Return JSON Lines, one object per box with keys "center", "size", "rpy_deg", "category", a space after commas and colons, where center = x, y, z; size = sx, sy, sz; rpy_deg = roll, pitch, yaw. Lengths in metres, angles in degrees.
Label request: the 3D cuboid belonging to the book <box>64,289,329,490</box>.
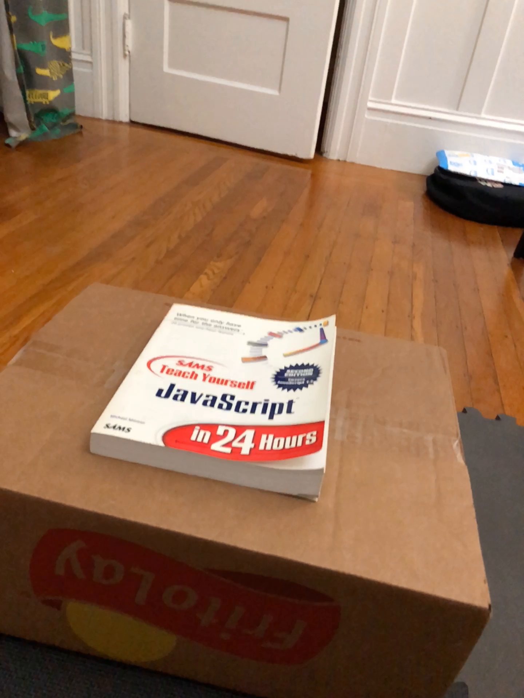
{"center": [-0.041, 0.021, 0.550], "size": [0.200, 0.030, 0.241], "rpy_deg": [10, 30, 3], "category": "book"}
